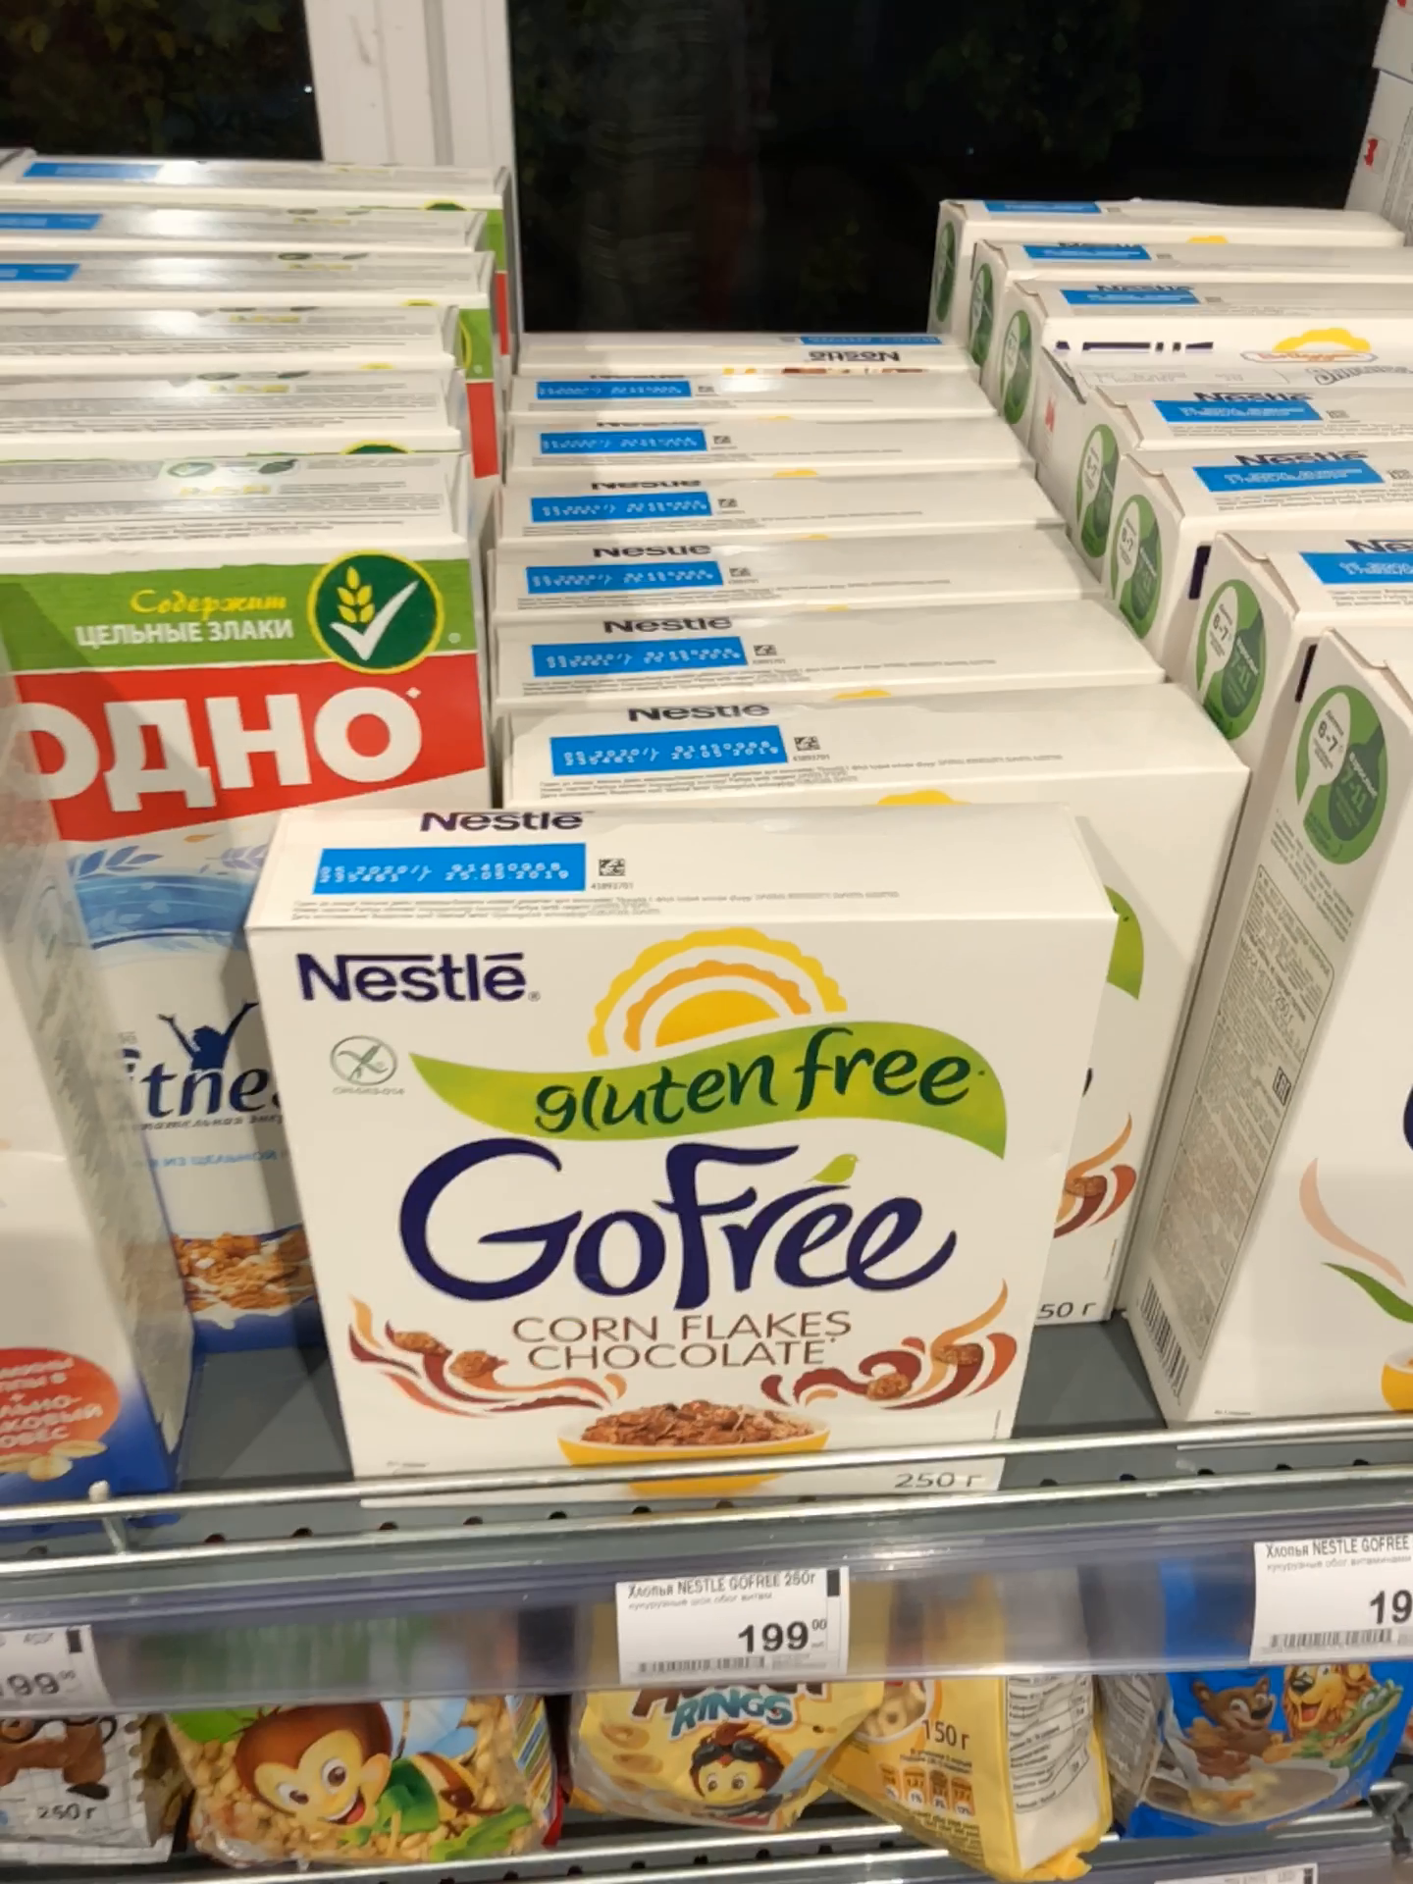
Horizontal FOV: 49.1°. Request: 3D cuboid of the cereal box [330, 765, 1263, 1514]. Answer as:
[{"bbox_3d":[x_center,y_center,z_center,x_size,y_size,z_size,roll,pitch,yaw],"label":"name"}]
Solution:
[{"bbox_3d":[0.017,0.064,0.420,0.200,0.219,0.060,1,36,-2],"label":"cereal box"}]
